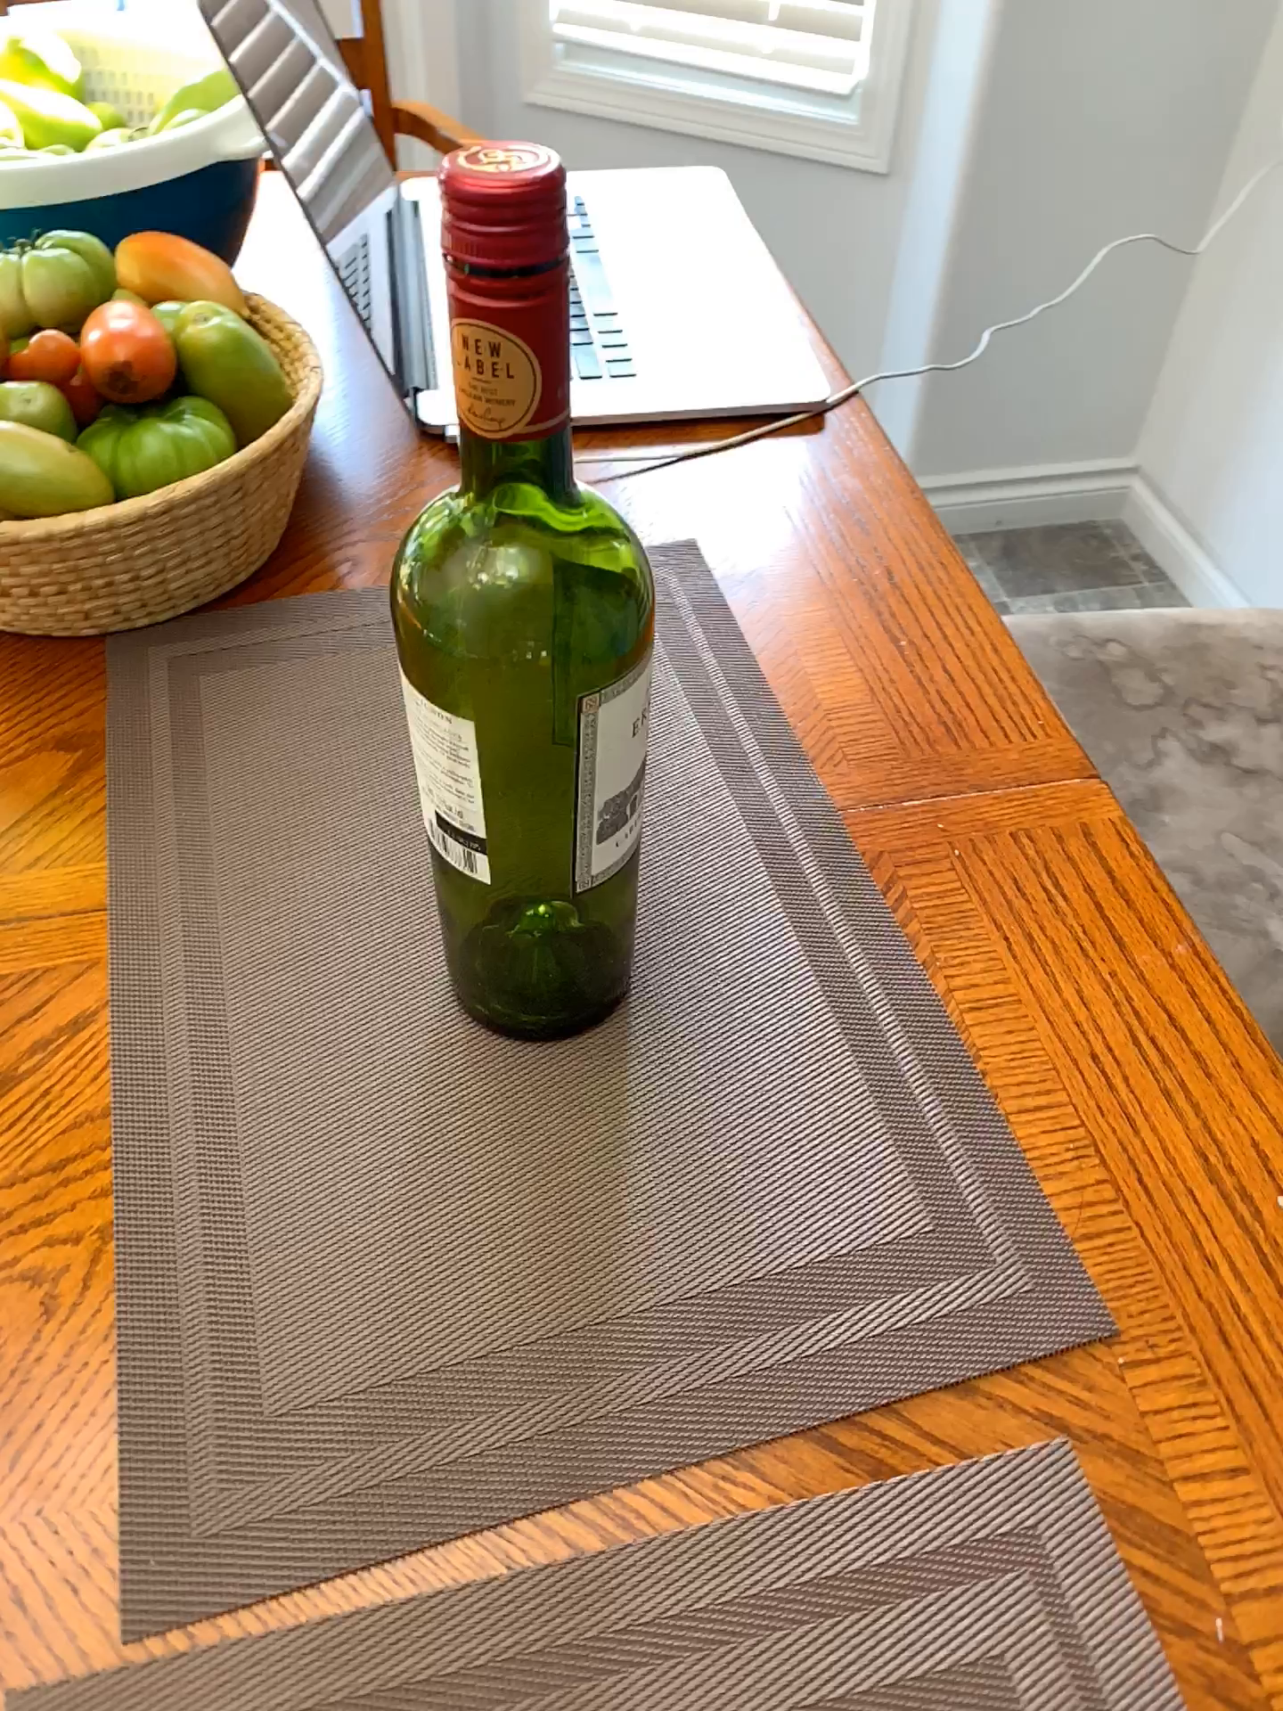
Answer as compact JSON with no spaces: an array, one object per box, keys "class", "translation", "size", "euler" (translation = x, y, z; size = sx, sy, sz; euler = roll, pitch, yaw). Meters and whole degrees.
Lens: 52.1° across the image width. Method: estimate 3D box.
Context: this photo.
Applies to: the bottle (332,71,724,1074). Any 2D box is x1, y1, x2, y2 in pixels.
[{"class":"bottle","translation":[-0.034,-0.061,0.416],"size":[0.080,0.307,0.091],"euler":[-7,47,-8]}]
